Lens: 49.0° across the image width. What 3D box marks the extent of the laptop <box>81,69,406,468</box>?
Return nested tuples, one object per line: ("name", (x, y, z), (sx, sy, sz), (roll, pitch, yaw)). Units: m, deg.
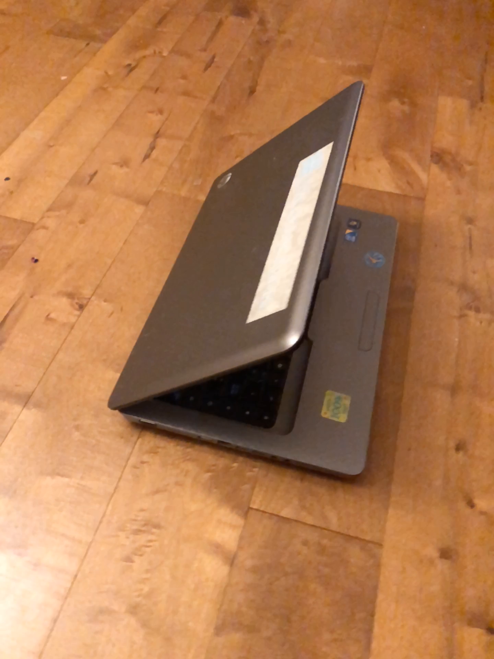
("laptop", (0.022, -0.082, 0.554), (0.223, 0.164, 0.348), (13, 52, 6))
